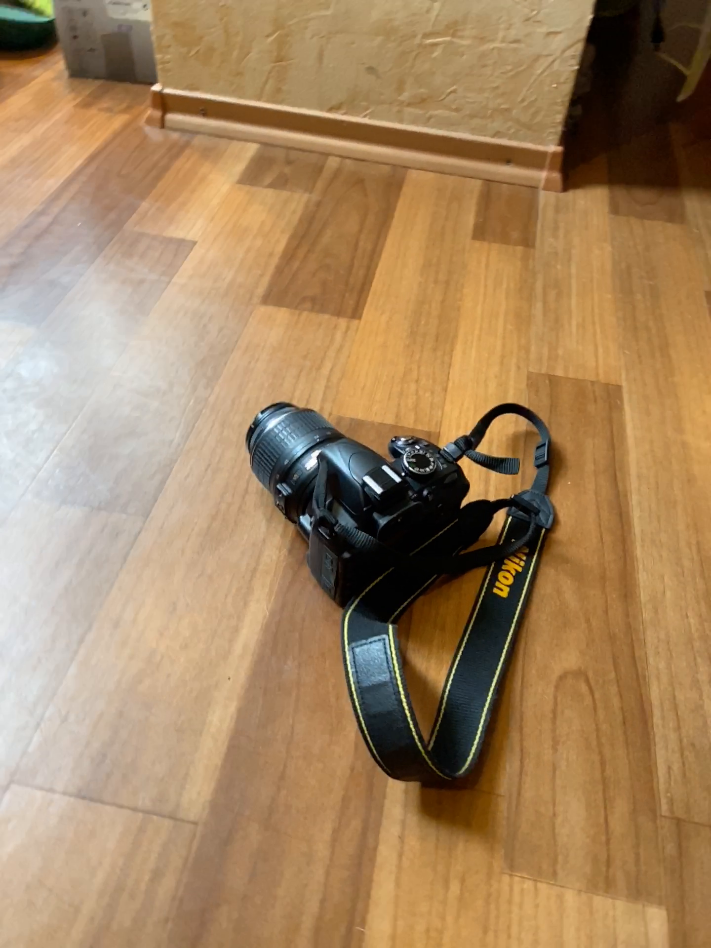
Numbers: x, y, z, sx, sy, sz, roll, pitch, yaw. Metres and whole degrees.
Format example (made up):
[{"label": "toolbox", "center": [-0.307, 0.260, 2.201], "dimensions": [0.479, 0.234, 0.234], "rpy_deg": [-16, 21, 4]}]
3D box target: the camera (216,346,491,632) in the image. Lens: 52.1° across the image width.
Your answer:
[{"label": "camera", "center": [-0.006, 0.005, 0.540], "dimensions": [0.120, 0.100, 0.153], "rpy_deg": [-31, 56, -29]}]
